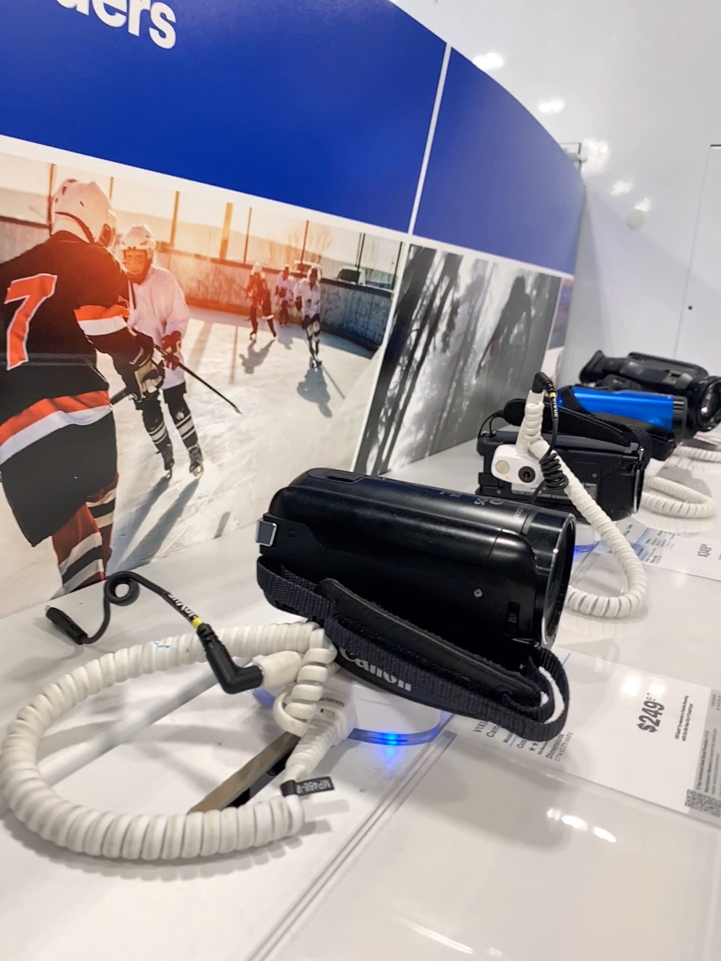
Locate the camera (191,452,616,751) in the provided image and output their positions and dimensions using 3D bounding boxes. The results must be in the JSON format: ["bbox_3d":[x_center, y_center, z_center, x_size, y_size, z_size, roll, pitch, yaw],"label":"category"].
[{"bbox_3d":[0.015,0.035,0.284,0.139,0.062,0.072,11,14,26],"label":"camera"}]
